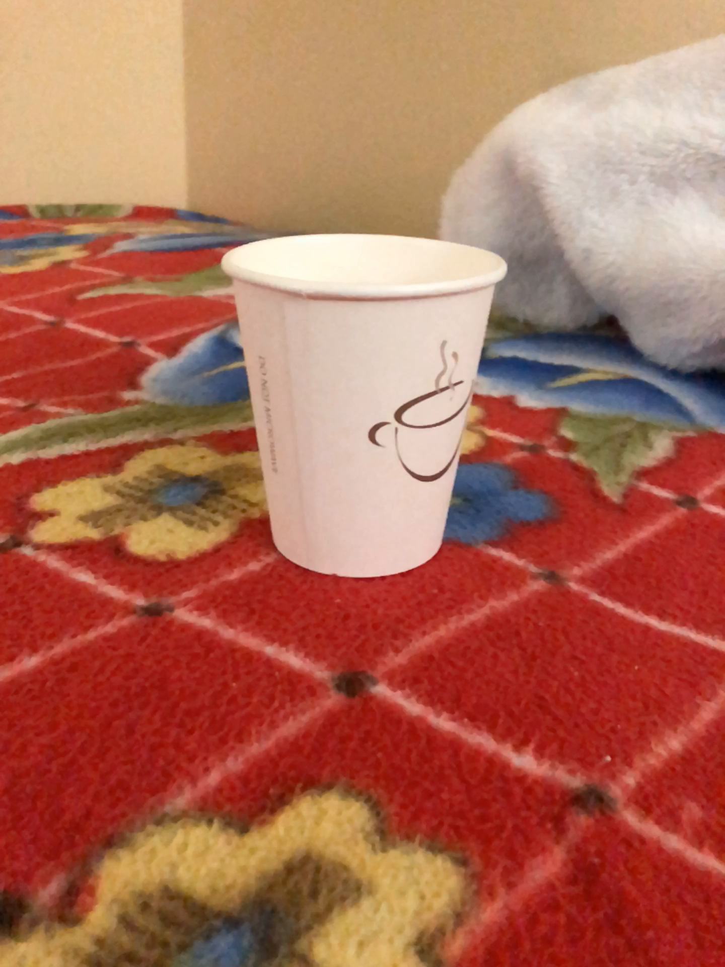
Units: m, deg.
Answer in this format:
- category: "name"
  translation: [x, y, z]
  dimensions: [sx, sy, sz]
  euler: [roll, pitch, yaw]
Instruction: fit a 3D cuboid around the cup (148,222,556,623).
- category: "cup"
  translation: [-0.007, -0.027, 0.257]
  dimensions: [0.090, 0.090, 0.080]
  euler: [-16, 34, -34]
